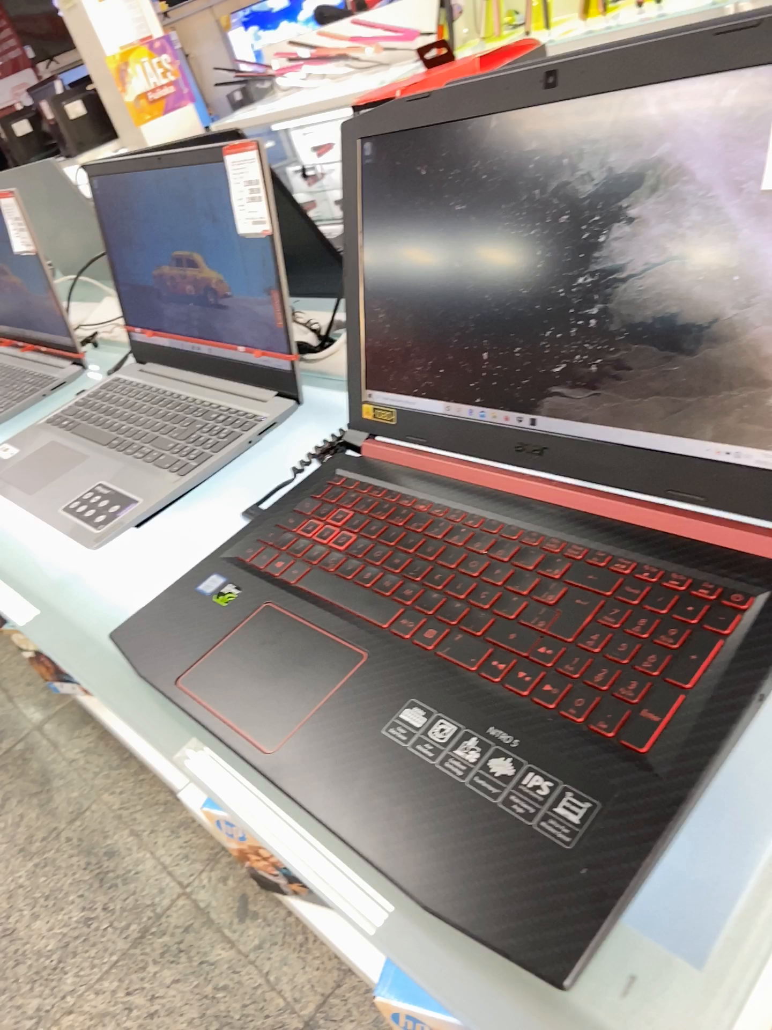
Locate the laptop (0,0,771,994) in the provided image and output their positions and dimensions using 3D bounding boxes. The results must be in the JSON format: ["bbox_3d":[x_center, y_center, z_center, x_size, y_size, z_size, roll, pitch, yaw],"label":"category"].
[{"bbox_3d":[0.016,-0.067,0.439,0.389,0.218,0.361,17,50,46],"label":"laptop"}]

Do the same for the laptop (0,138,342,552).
[{"bbox_3d":[-0.309,-0.197,0.822,0.355,0.225,0.323,17,50,43],"label":"laptop"}]
